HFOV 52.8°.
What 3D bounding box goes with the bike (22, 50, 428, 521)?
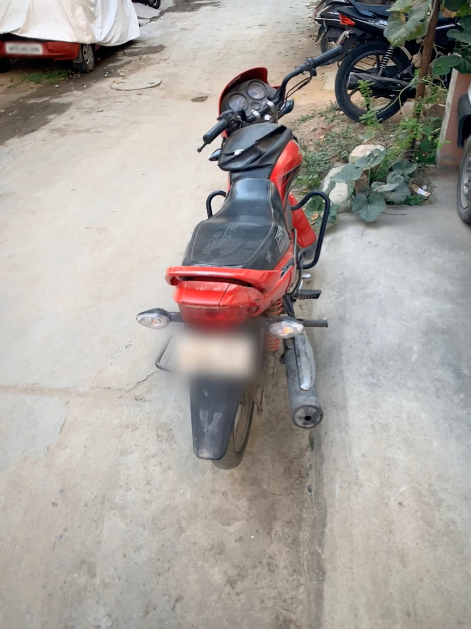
[{"bbox_3d":[-0.001,-0.282,1.907,0.758,1.092,1.716,-2,38,3],"label":"bike"}]
